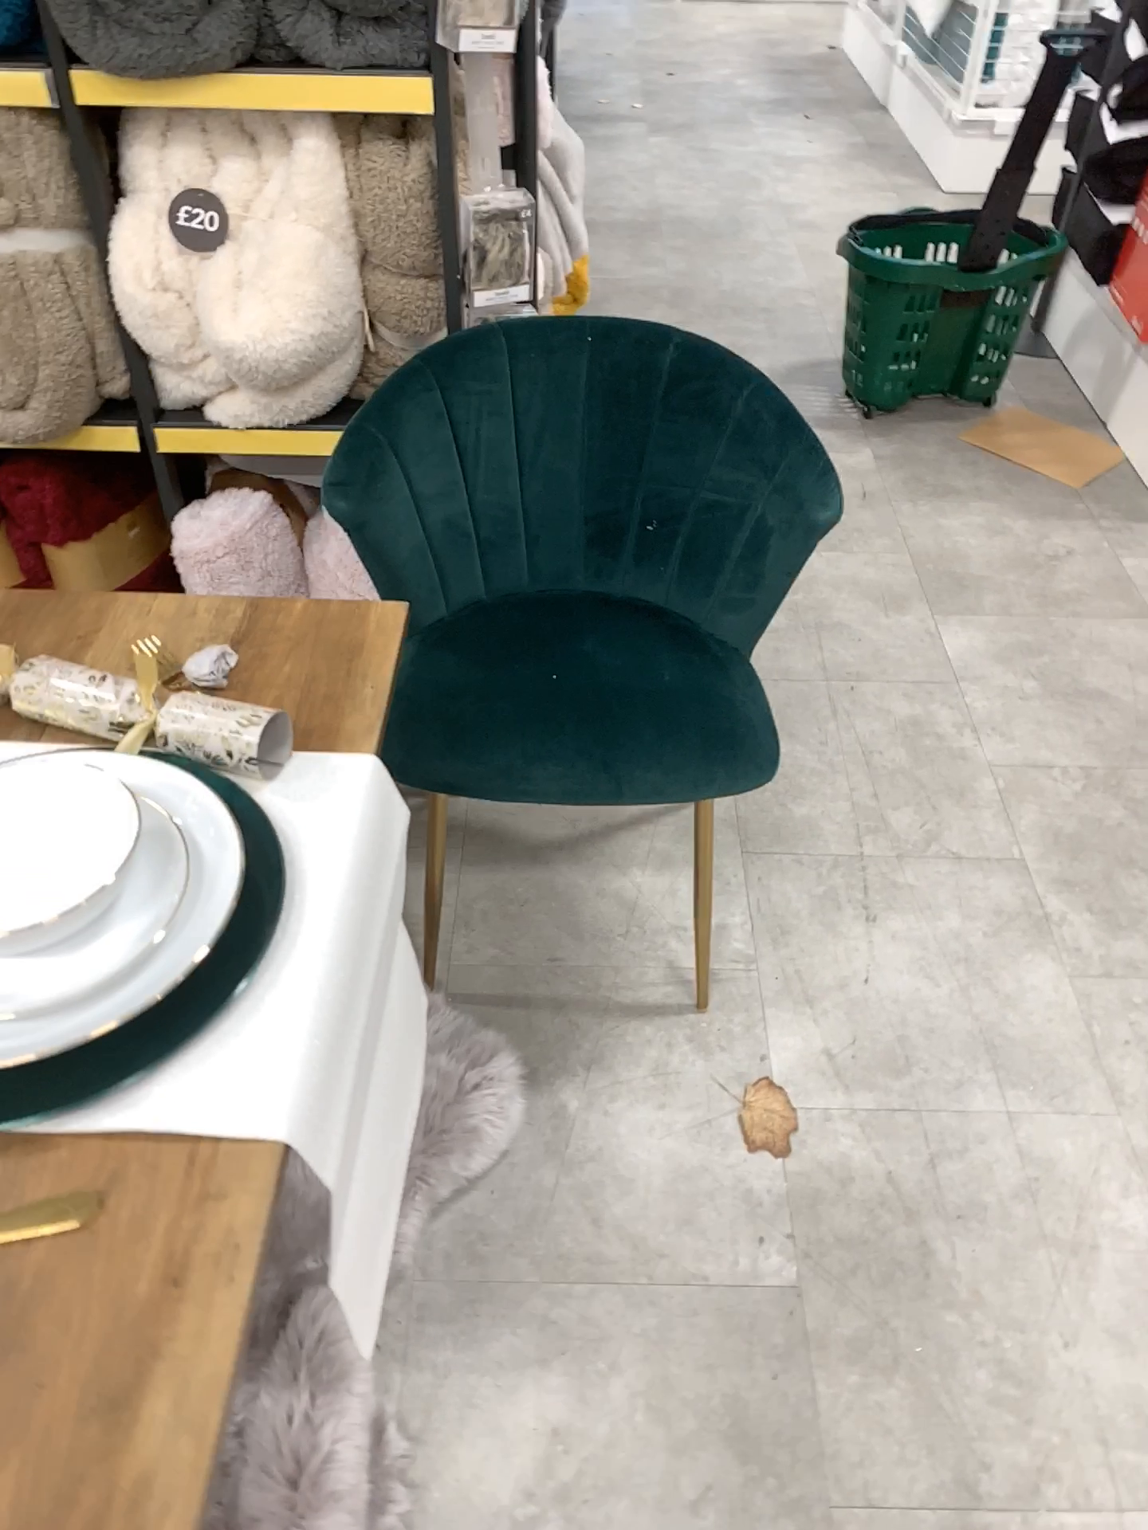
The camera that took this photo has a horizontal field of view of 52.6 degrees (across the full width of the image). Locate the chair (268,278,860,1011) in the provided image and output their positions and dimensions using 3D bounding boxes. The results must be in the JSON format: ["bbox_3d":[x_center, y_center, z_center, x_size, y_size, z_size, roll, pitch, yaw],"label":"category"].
[{"bbox_3d":[0.001,-0.142,1.505,0.540,0.754,0.530,3,42,2],"label":"chair"}]
